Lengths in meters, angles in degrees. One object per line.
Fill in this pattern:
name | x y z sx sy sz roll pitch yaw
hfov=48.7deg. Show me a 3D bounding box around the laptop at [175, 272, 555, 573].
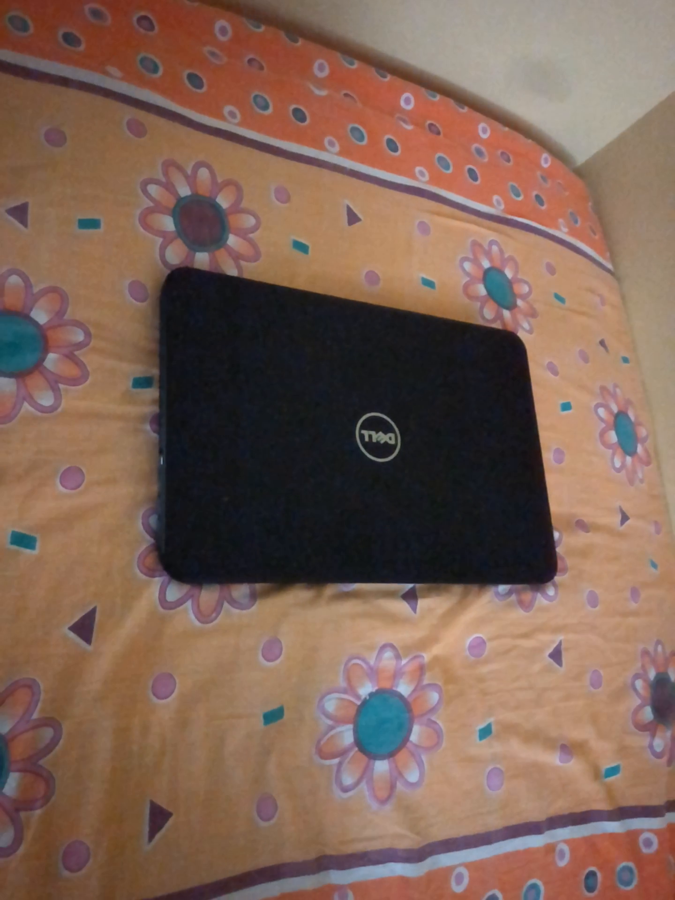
laptop | 0.037 -0.014 0.647 0.359 0.001 0.236 5 73 -27
